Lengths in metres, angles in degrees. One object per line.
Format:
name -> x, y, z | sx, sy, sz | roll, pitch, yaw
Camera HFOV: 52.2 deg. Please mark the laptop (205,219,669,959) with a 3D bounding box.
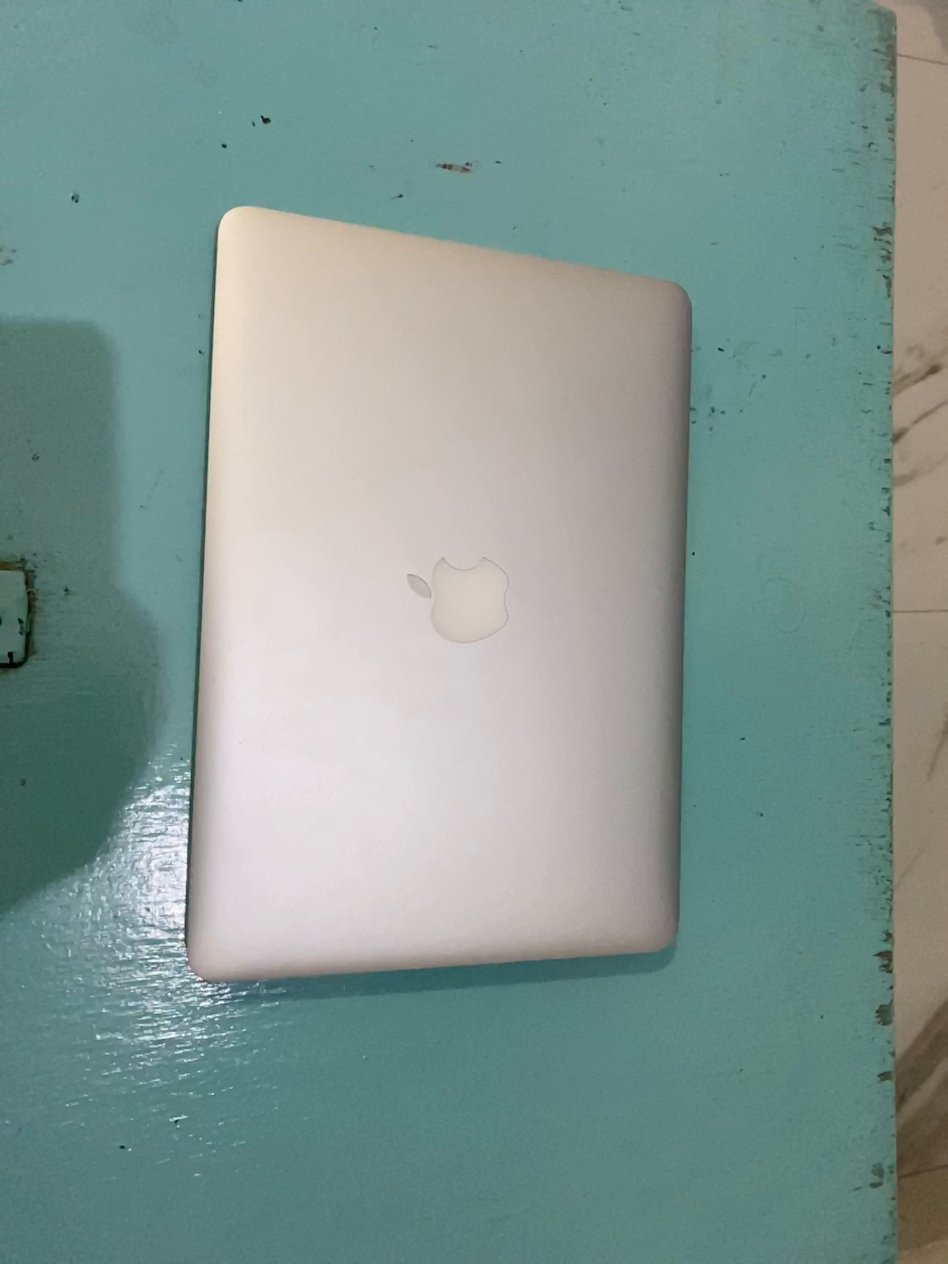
laptop -> -0.007, -0.014, 0.421 | 0.209, 0.007, 0.291 | 1, 89, -21
